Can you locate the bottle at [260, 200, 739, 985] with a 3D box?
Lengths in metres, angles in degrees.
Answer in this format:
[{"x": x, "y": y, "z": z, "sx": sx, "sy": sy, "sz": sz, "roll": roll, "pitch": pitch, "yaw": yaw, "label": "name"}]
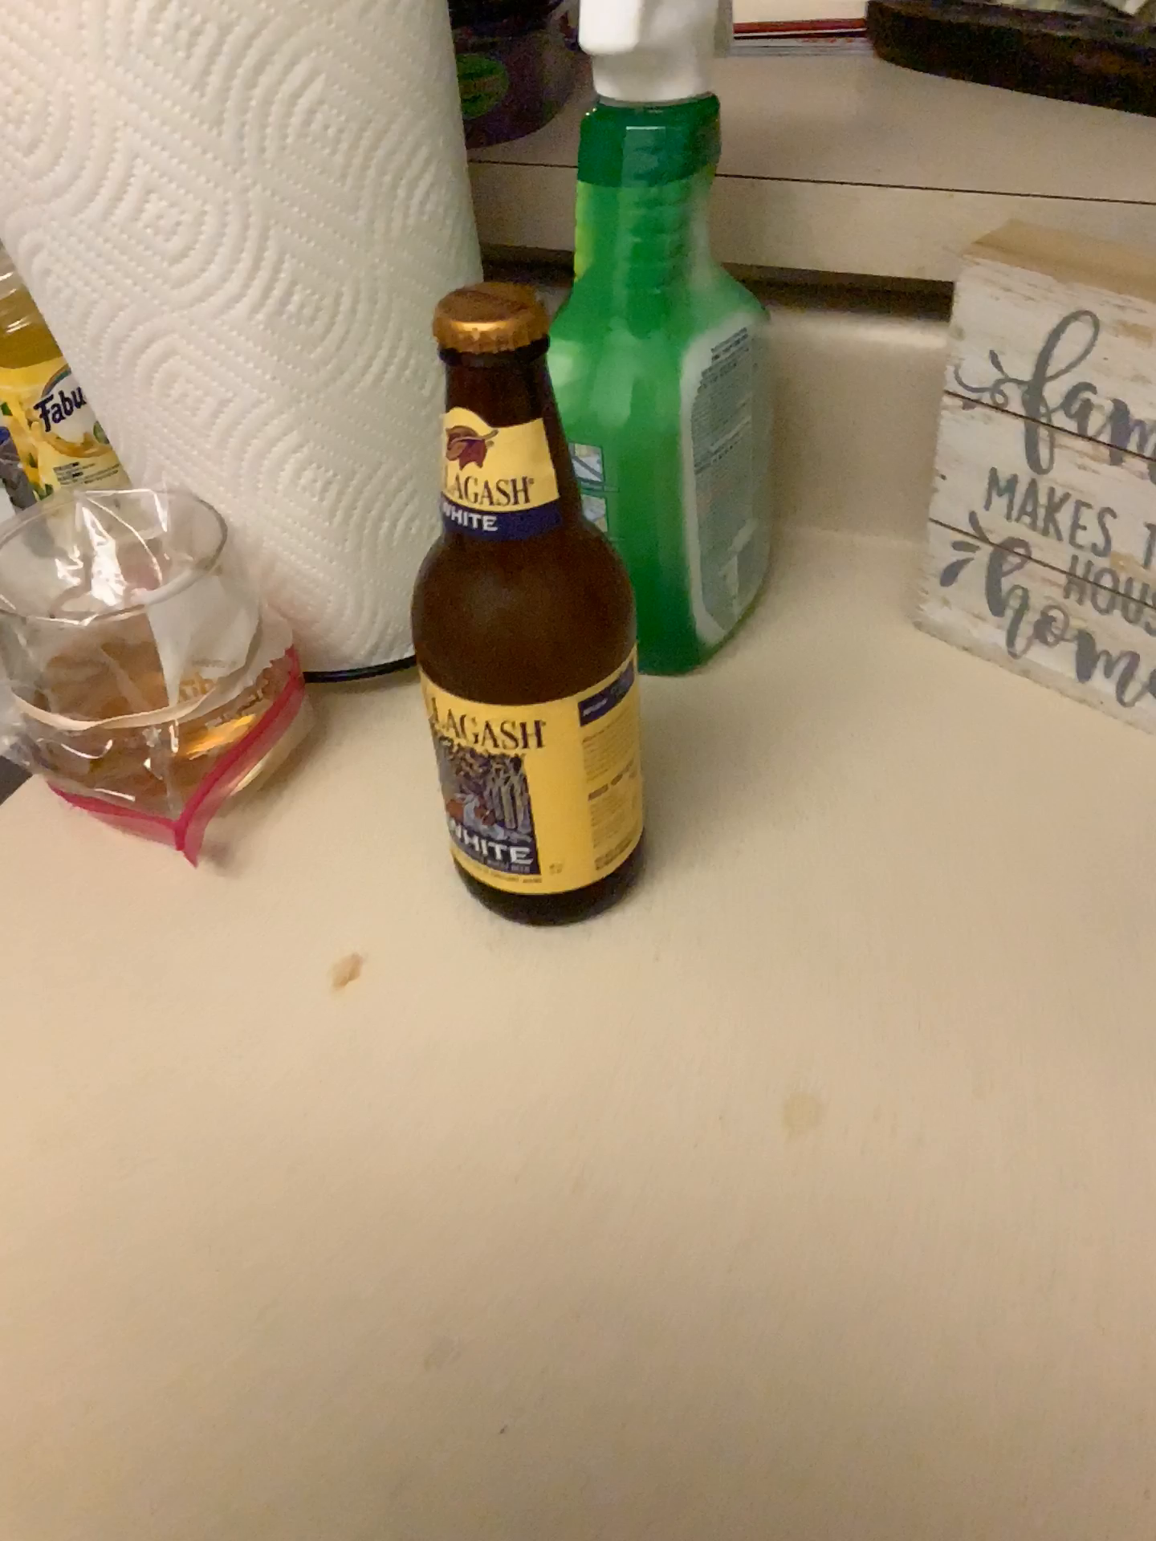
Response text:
[{"x": -0.012, "y": -0.045, "z": 0.363, "sx": 0.080, "sy": 0.190, "sz": 0.080, "roll": -3, "pitch": 40, "yaw": 2, "label": "bottle"}]
